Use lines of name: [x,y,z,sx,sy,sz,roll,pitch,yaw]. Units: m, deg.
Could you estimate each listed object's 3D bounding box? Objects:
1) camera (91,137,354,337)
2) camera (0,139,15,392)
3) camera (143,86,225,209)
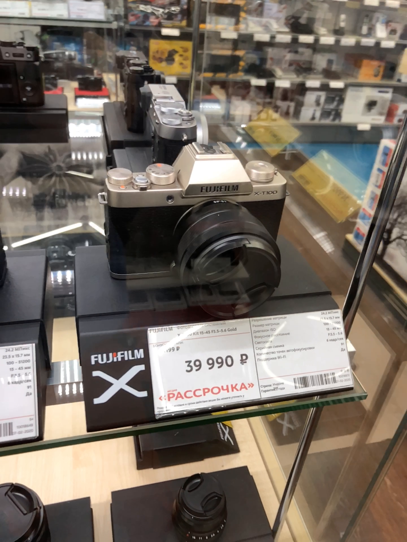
camera: [0.002,-0.030,0.289,0.132,0.080,0.100,-6,35,-16]
camera: [-0.189,-0.013,0.246,0.140,0.086,0.103,-4,35,-15]
camera: [-0.025,-0.125,0.443,0.054,0.076,0.132,-3,35,-12]
